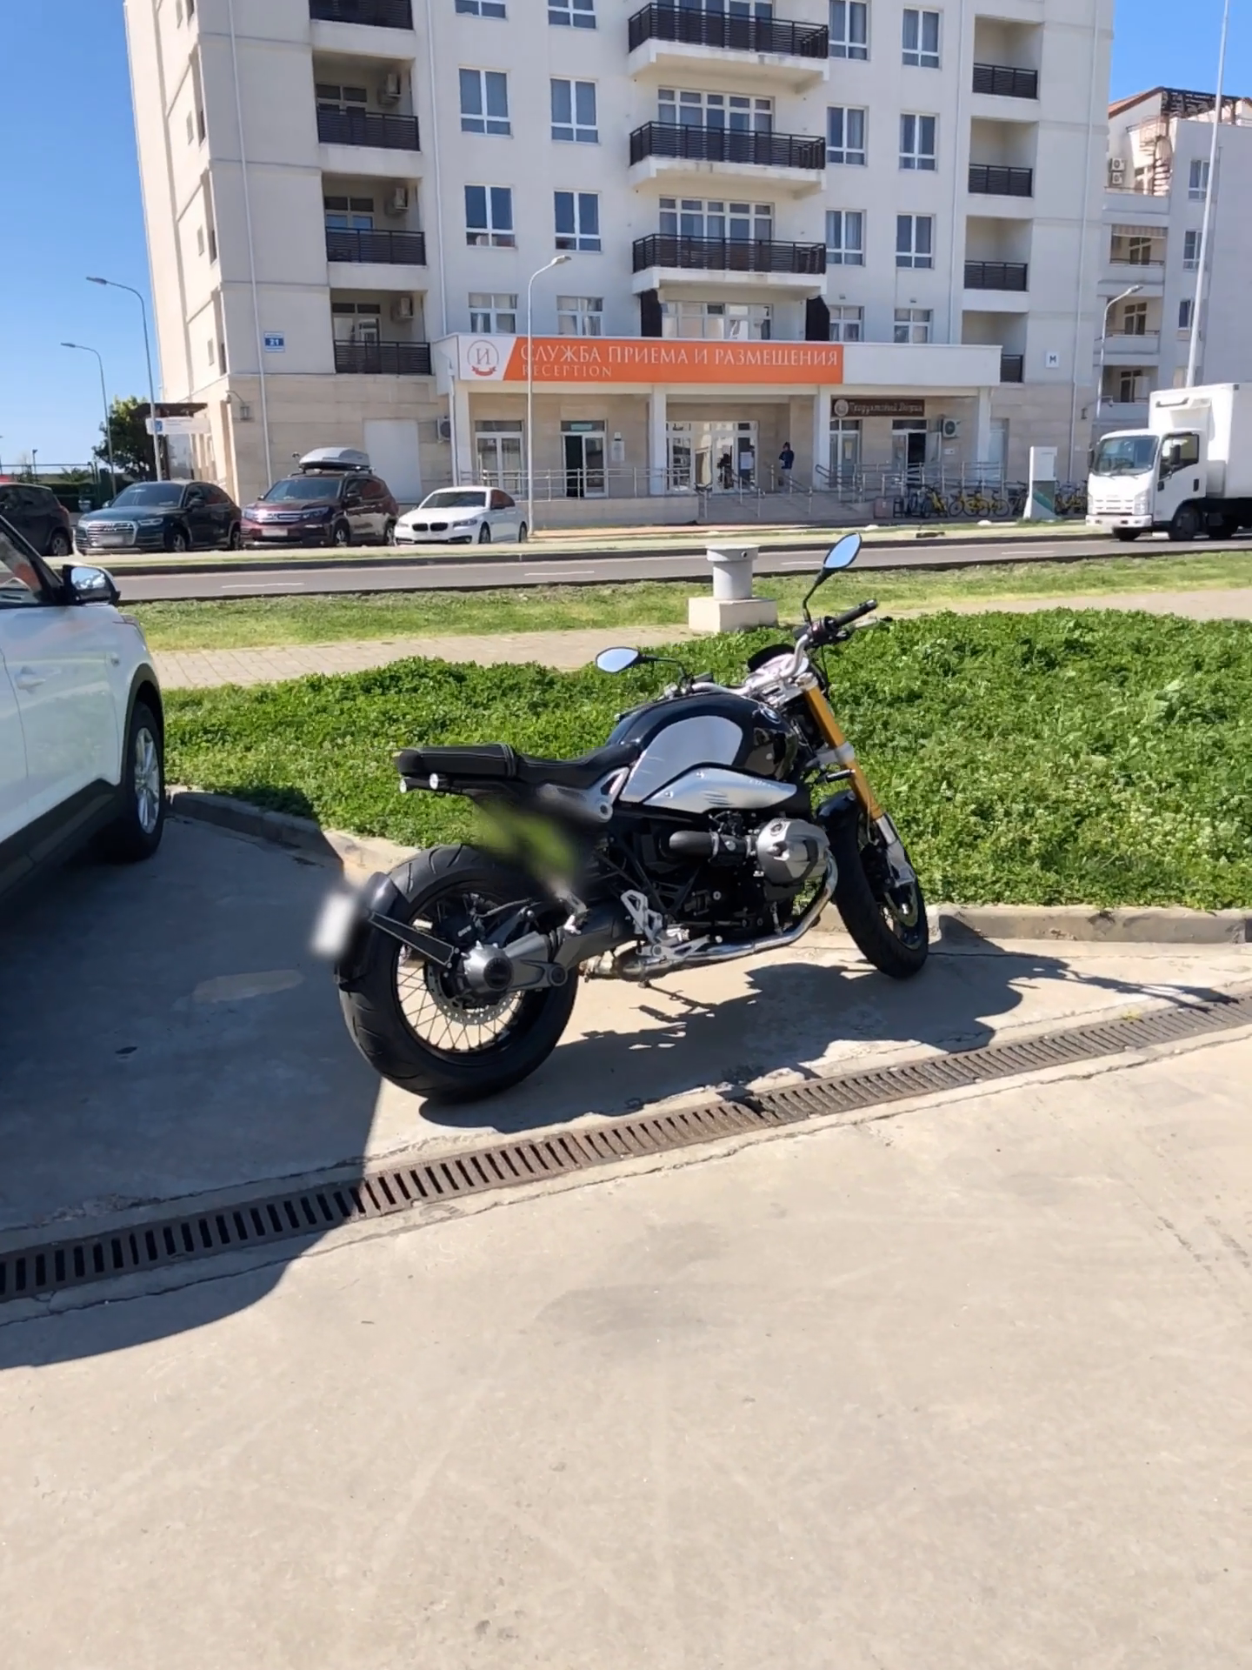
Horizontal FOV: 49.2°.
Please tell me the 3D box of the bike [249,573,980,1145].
[{"bbox_3d":[0.054,-0.098,3.586,1.835,1.014,0.778,-13,18,-39],"label":"bike"}]
